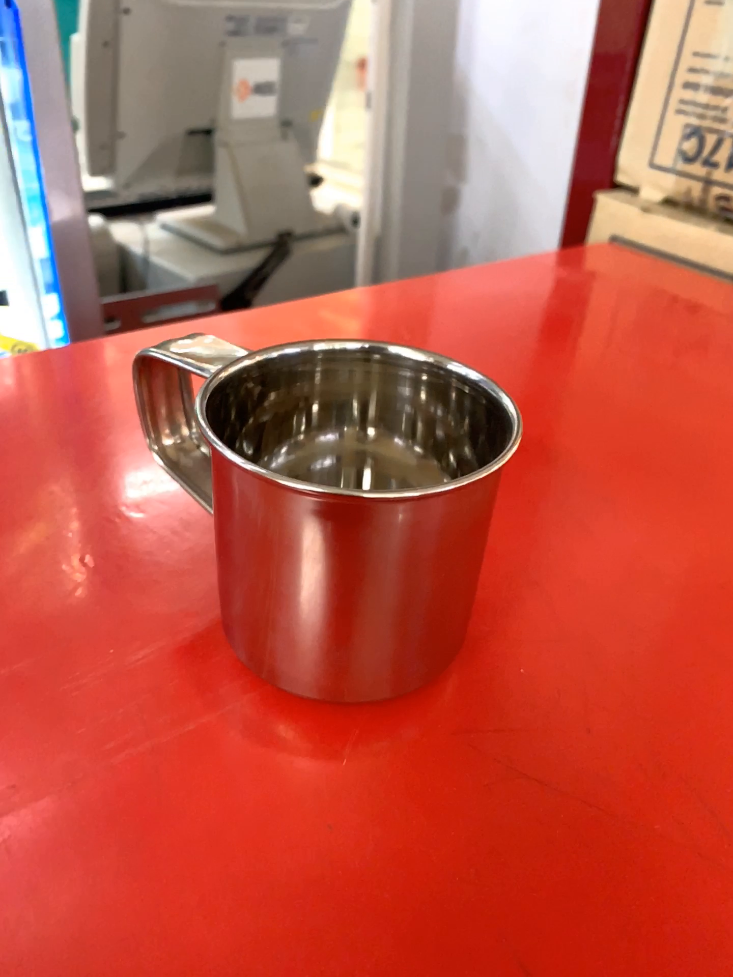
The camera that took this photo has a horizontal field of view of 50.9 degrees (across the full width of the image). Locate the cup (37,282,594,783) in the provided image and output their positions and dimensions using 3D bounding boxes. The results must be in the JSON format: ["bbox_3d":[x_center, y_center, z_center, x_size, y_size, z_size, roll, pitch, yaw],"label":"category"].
[{"bbox_3d":[-0.014,0.000,0.204,0.110,0.065,0.080,26,39,31],"label":"cup"}]
